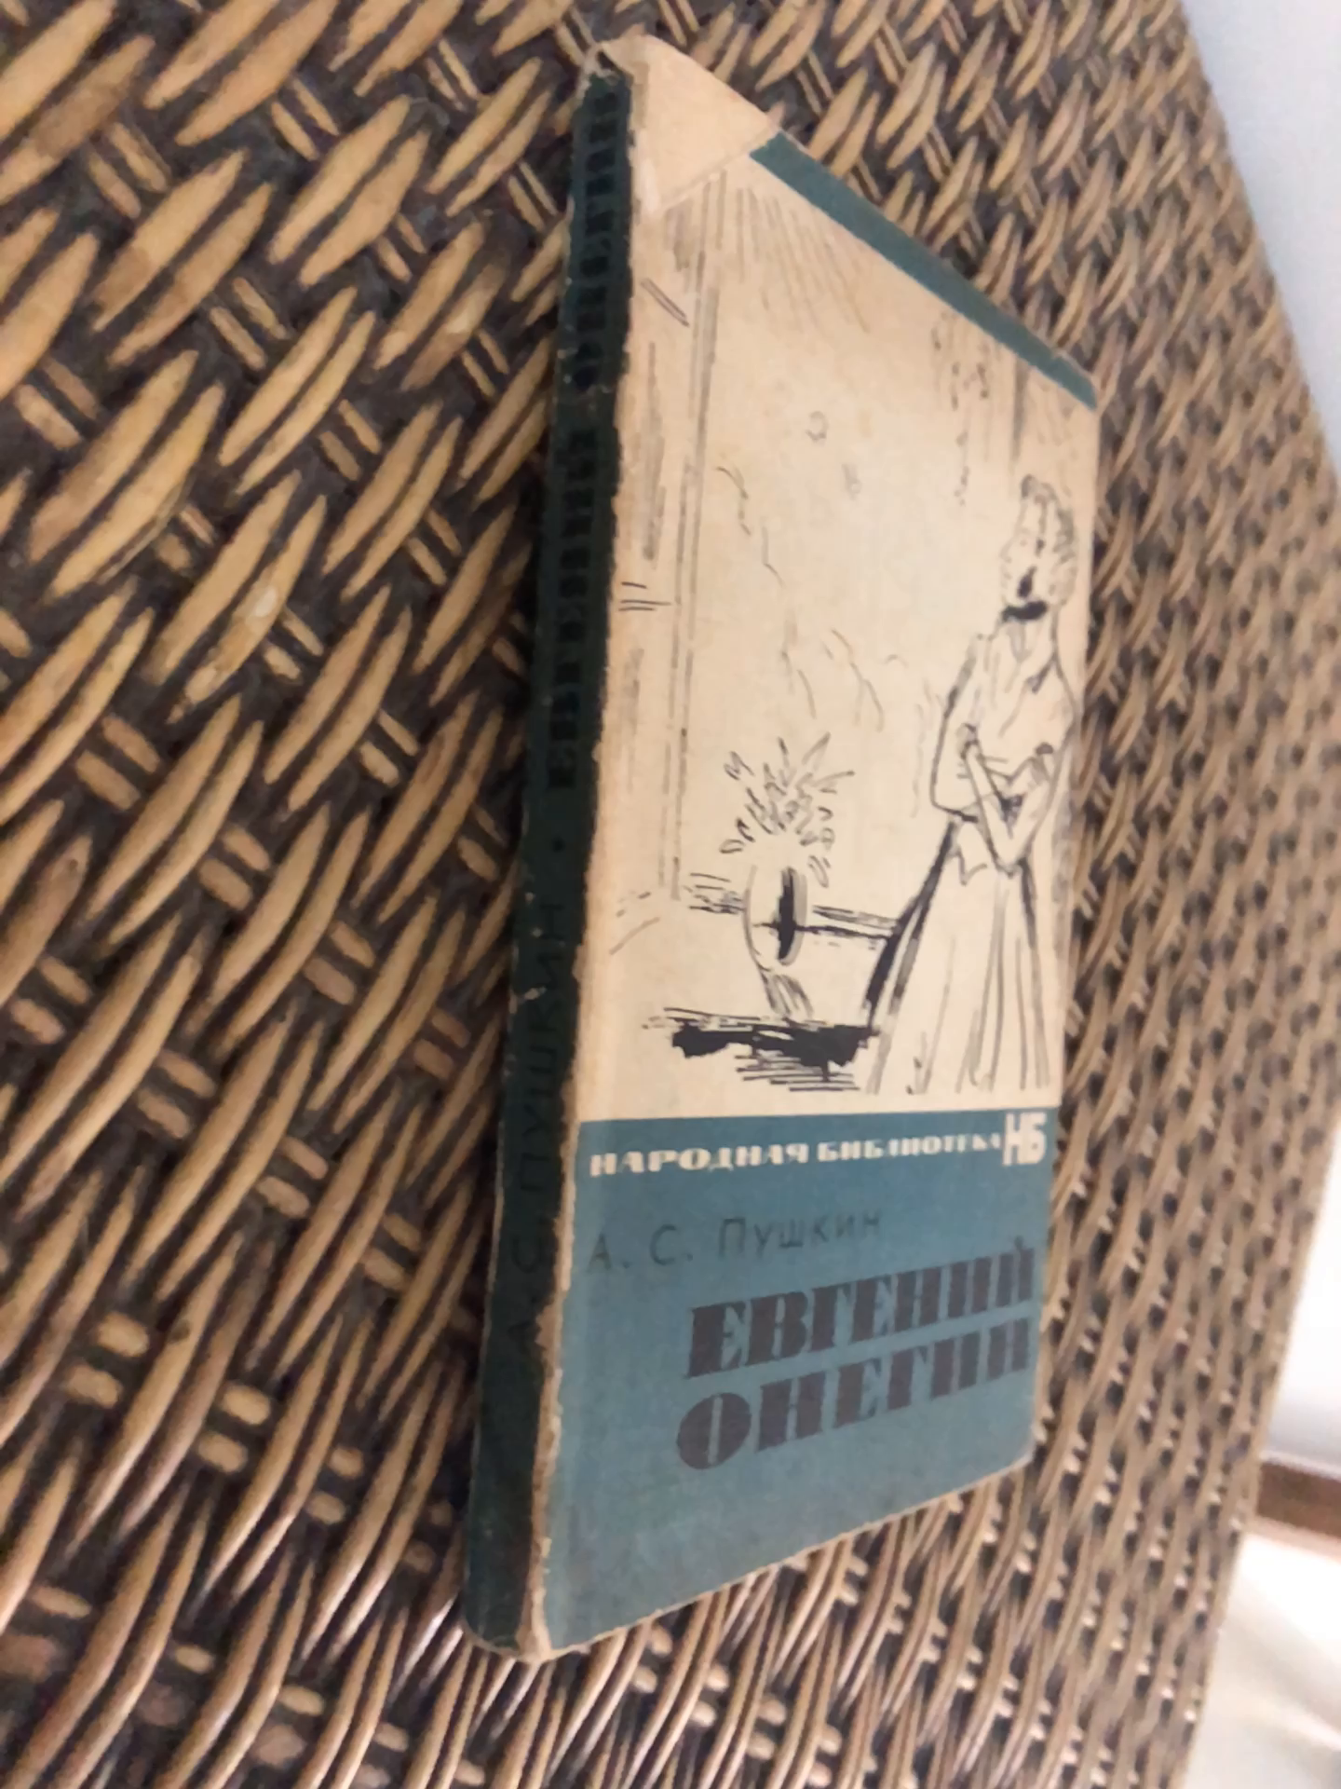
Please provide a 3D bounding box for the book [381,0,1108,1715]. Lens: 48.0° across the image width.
[{"bbox_3d":[0.021,-0.003,0.215,0.121,0.020,0.190,8,85,-49],"label":"book"}]
